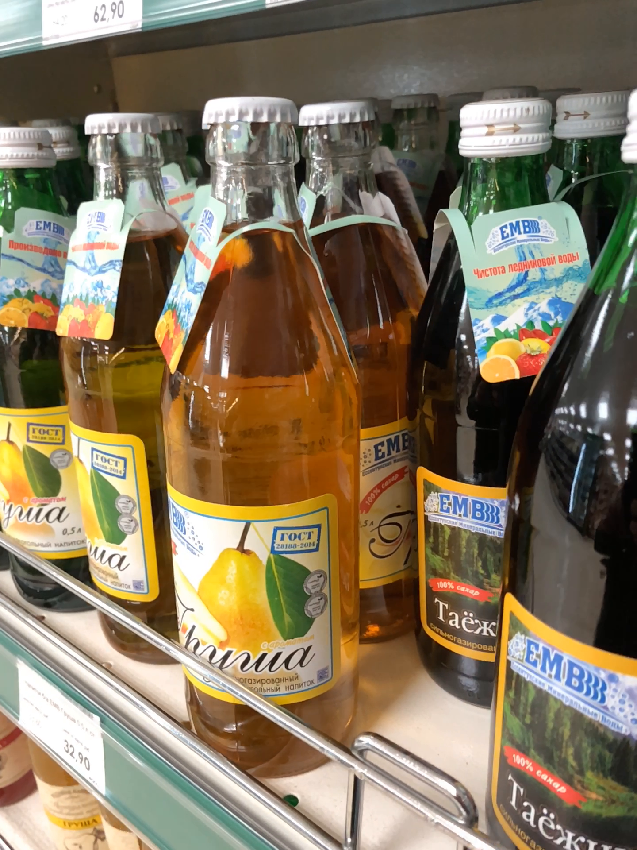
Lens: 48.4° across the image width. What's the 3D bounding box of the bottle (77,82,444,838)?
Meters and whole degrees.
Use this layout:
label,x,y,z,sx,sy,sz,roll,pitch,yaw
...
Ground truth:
label,x,y,z,sx,sy,sz,roll,pitch,yaw
bottle,-0.012,0.013,0.249,0.080,0.234,0.070,14,27,35
